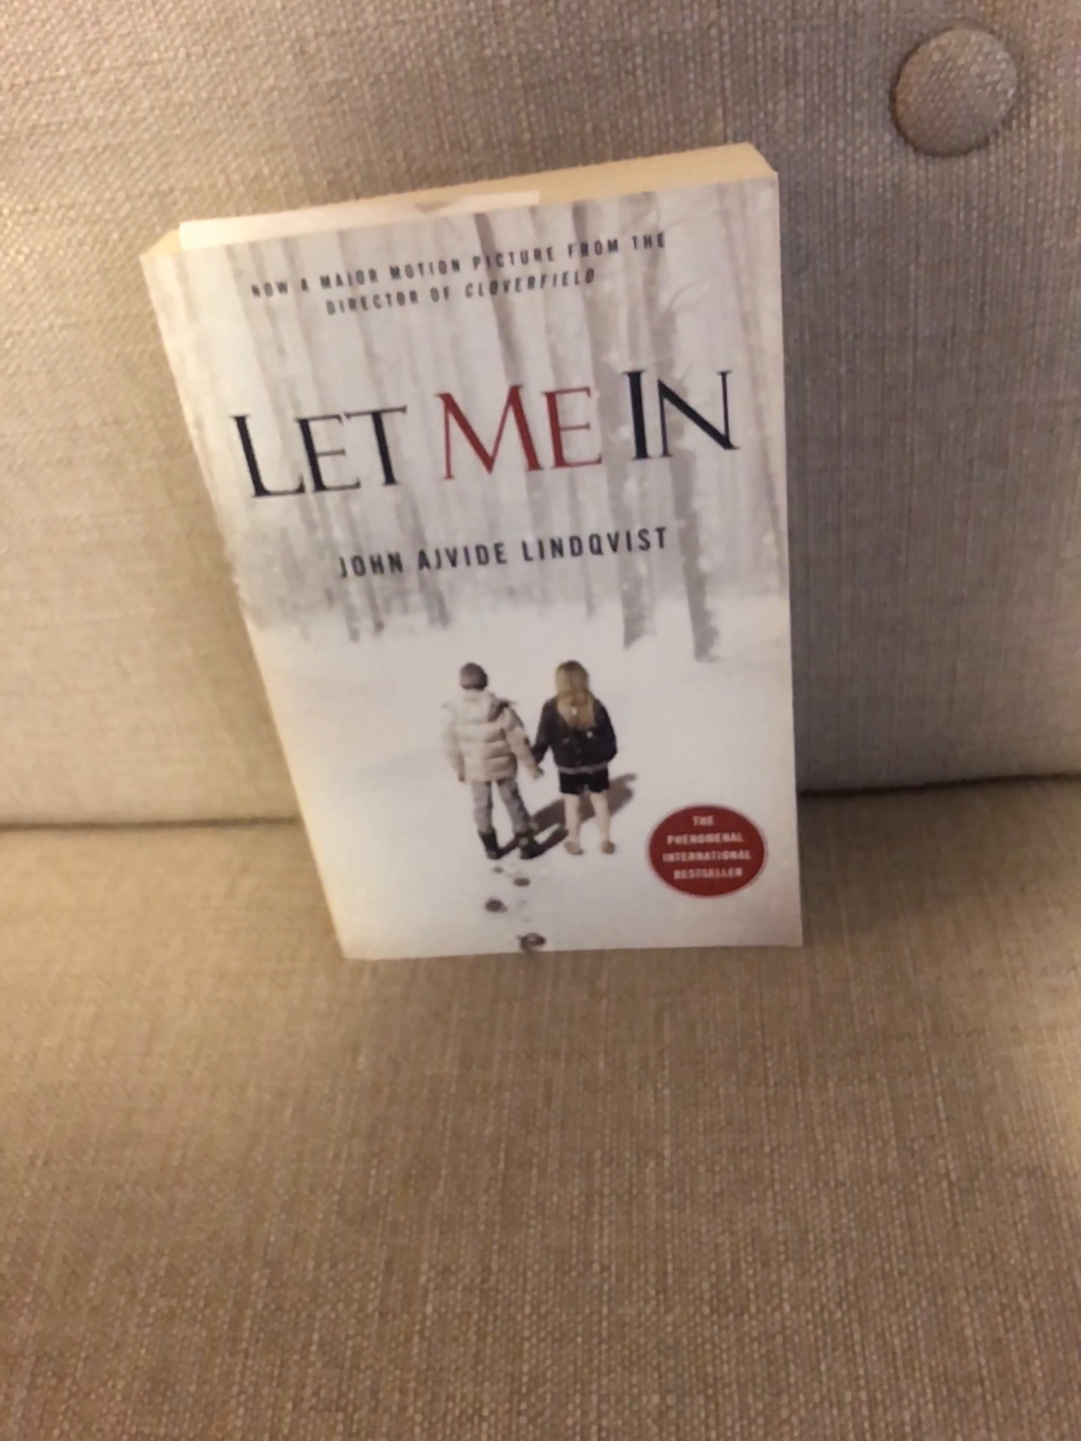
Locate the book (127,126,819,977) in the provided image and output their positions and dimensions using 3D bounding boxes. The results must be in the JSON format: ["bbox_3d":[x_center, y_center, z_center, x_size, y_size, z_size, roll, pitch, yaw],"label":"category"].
[{"bbox_3d":[-0.003,-0.030,0.325,0.147,0.215,0.044,-3,30,8],"label":"book"}]
